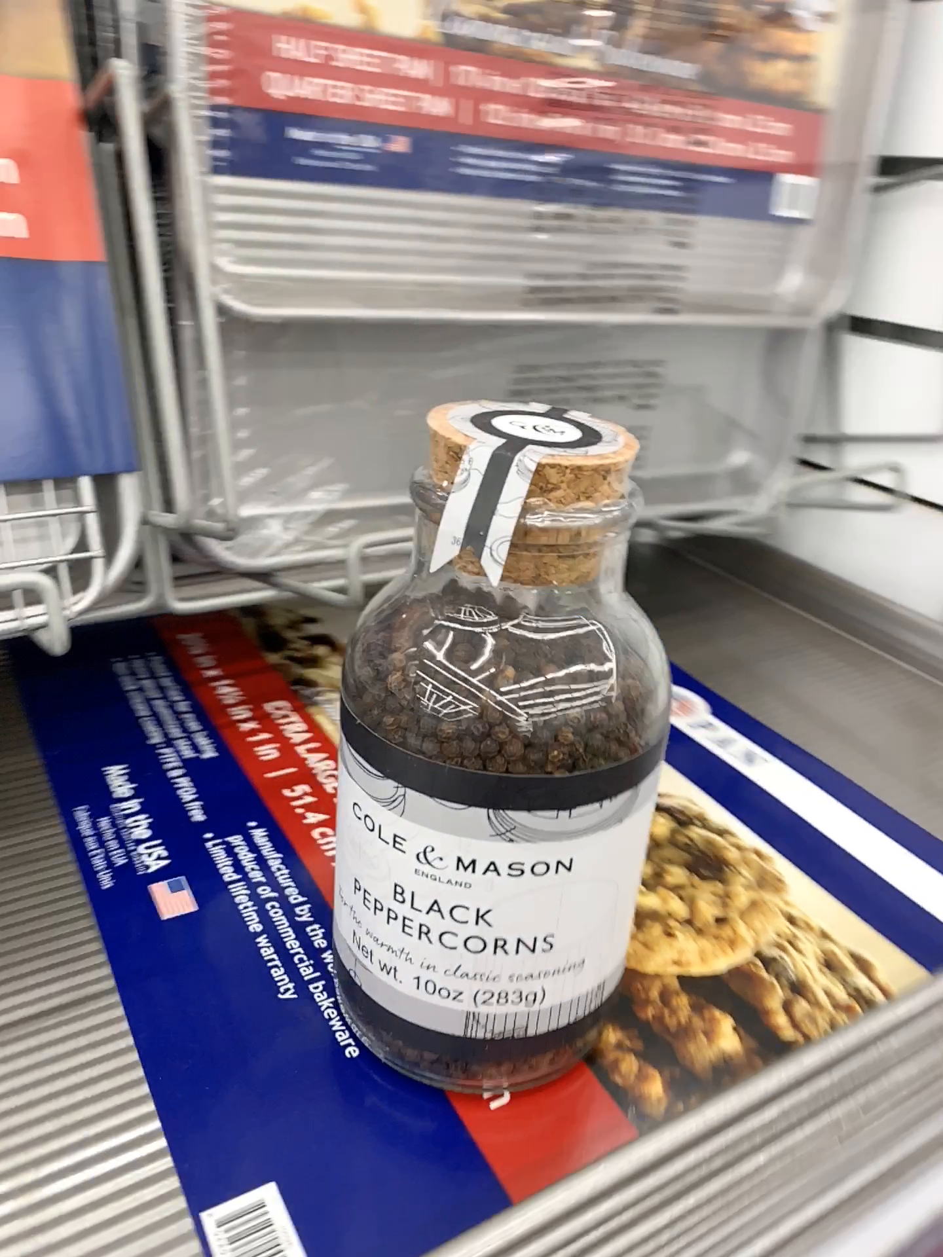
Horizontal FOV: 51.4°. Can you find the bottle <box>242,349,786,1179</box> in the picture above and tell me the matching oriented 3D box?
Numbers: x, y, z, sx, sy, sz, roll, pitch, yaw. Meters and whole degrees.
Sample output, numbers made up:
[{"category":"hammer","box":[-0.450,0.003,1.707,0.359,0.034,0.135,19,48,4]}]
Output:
[{"category":"bottle","box":[0.010,0.025,0.240,0.090,0.159,0.090,4,24,-2]}]
